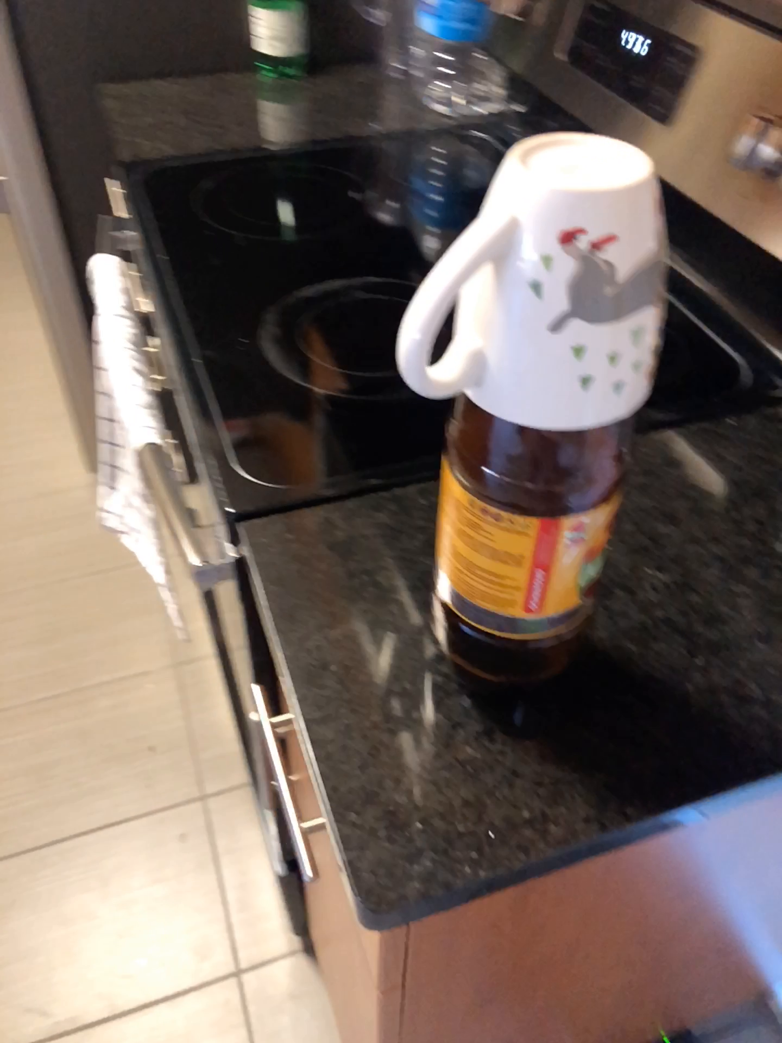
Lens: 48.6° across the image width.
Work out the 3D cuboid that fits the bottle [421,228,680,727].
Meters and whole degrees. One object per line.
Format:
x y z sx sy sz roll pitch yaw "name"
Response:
0.082 -0.010 0.505 0.100 0.279 0.100 1 43 -1 "bottle"
